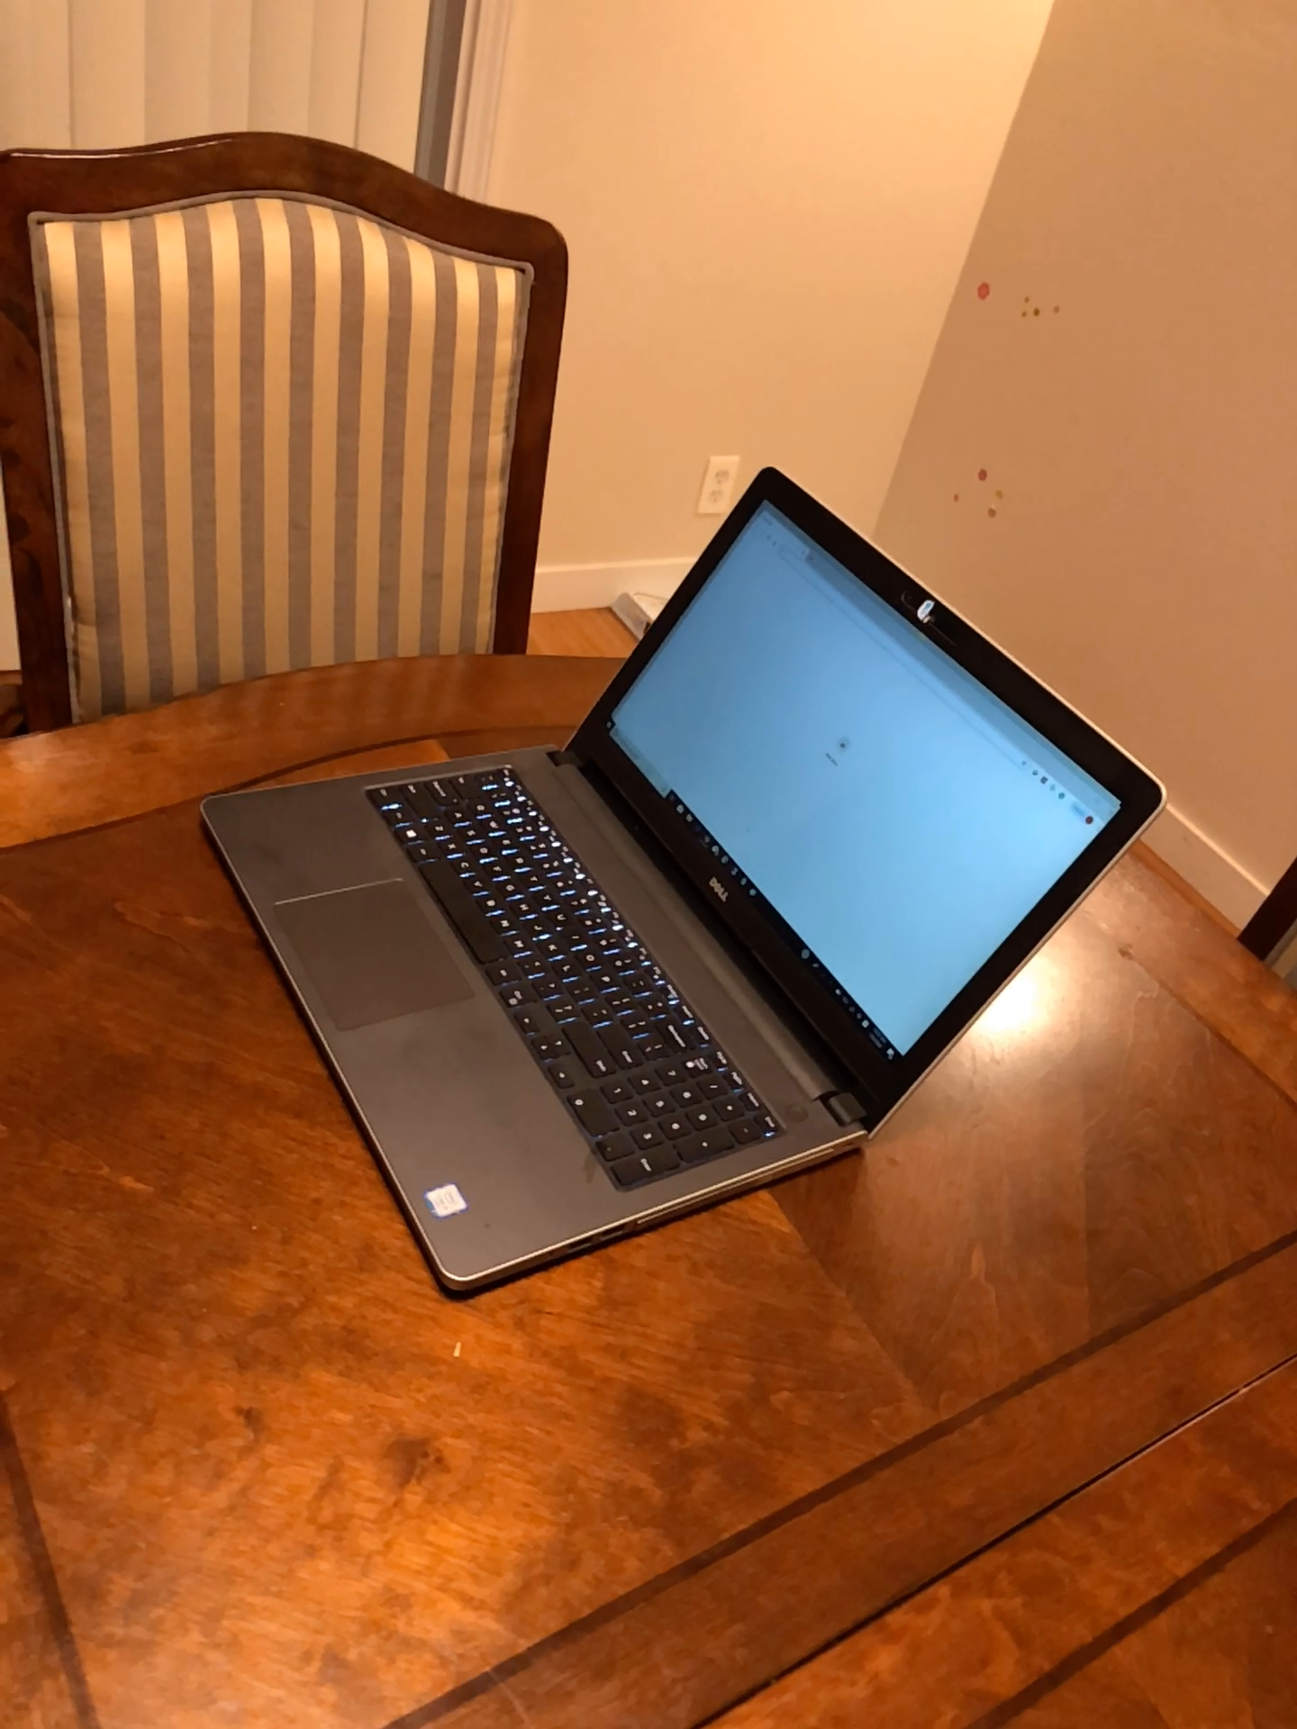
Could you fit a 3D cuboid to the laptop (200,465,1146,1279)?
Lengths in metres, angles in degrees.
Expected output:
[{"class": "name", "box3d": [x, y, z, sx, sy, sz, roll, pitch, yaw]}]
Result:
[{"class": "laptop", "box3d": [-0.015, -0.036, 0.795, 0.360, 0.212, 0.371, -11, 45, -31]}]
